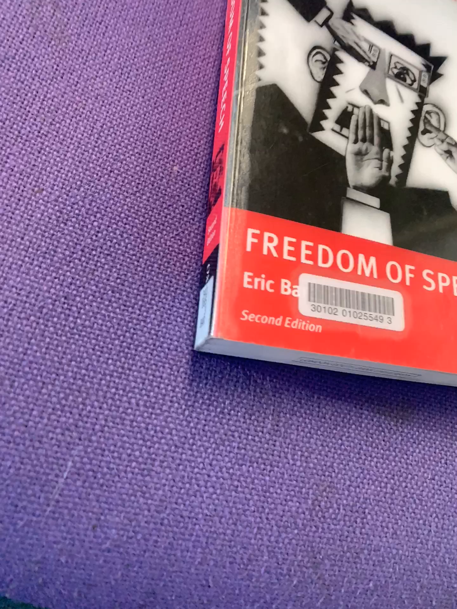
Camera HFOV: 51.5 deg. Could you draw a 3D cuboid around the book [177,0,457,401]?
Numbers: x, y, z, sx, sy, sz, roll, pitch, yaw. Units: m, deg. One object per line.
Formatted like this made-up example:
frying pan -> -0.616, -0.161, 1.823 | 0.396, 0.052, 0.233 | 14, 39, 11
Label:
book -> 0.068, -0.084, 0.258 | 0.160, 0.050, 0.251 | 11, 70, -20
